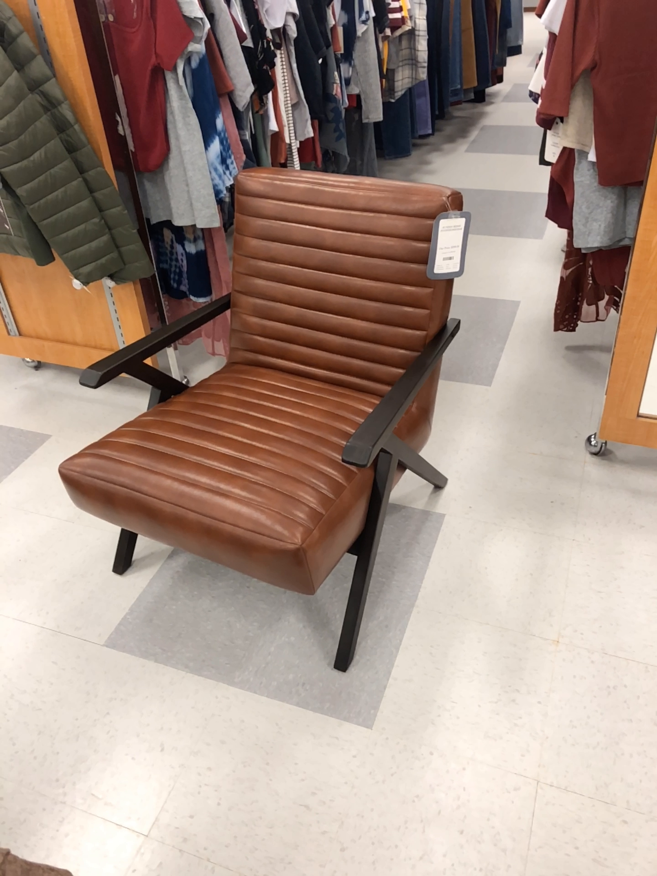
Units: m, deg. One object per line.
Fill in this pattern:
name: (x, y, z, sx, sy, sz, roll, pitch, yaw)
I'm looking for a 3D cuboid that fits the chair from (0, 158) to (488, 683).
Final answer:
chair: (-0.116, -0.093, 1.558, 0.676, 0.756, 0.680, 16, 41, 25)
